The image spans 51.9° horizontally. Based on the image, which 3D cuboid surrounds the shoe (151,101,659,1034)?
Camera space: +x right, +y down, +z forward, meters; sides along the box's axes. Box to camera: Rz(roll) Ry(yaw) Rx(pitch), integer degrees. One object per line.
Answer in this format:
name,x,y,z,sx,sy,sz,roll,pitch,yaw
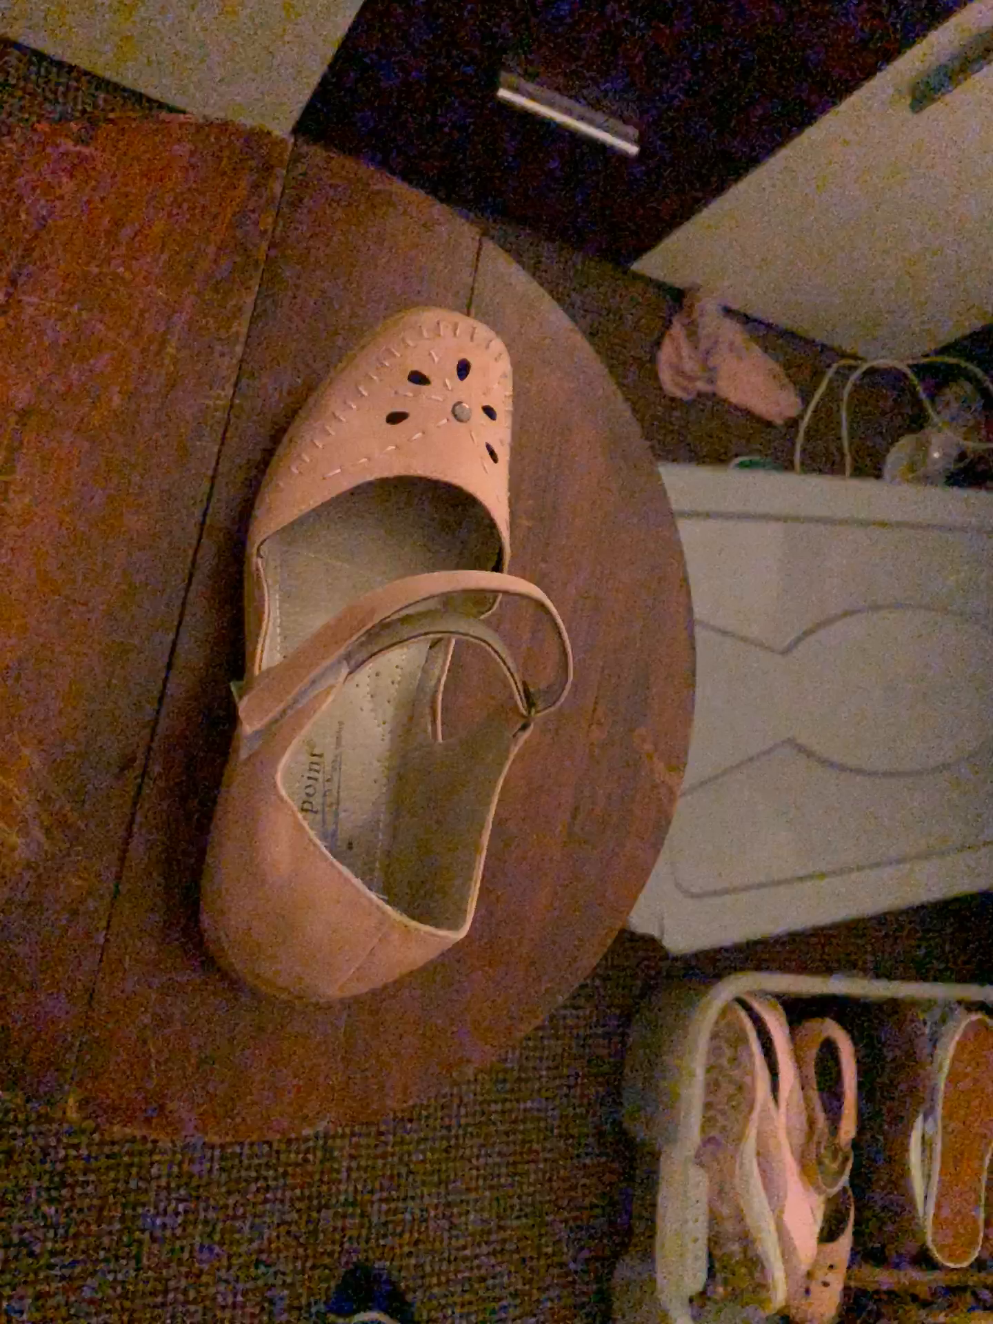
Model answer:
shoe,-0.026,-0.027,0.348,0.102,0.092,0.272,16,73,-27
